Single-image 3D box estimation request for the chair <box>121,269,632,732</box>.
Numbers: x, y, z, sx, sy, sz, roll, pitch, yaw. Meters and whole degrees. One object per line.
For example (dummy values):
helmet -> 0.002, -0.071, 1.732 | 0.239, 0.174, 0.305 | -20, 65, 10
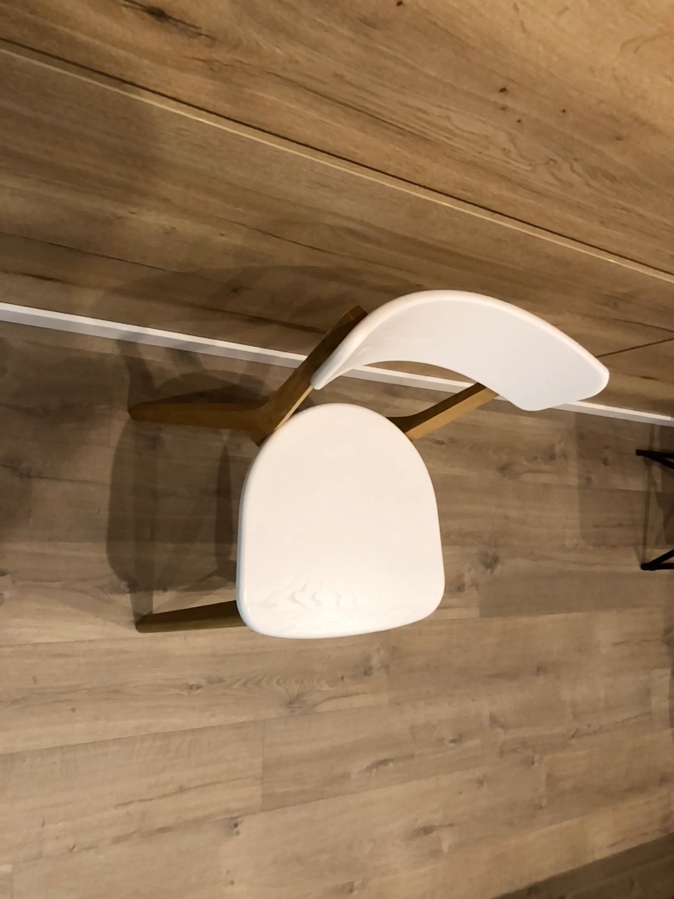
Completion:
chair -> -0.008, 0.095, 1.325 | 0.502, 0.827, 0.530 | 1, 84, -33
